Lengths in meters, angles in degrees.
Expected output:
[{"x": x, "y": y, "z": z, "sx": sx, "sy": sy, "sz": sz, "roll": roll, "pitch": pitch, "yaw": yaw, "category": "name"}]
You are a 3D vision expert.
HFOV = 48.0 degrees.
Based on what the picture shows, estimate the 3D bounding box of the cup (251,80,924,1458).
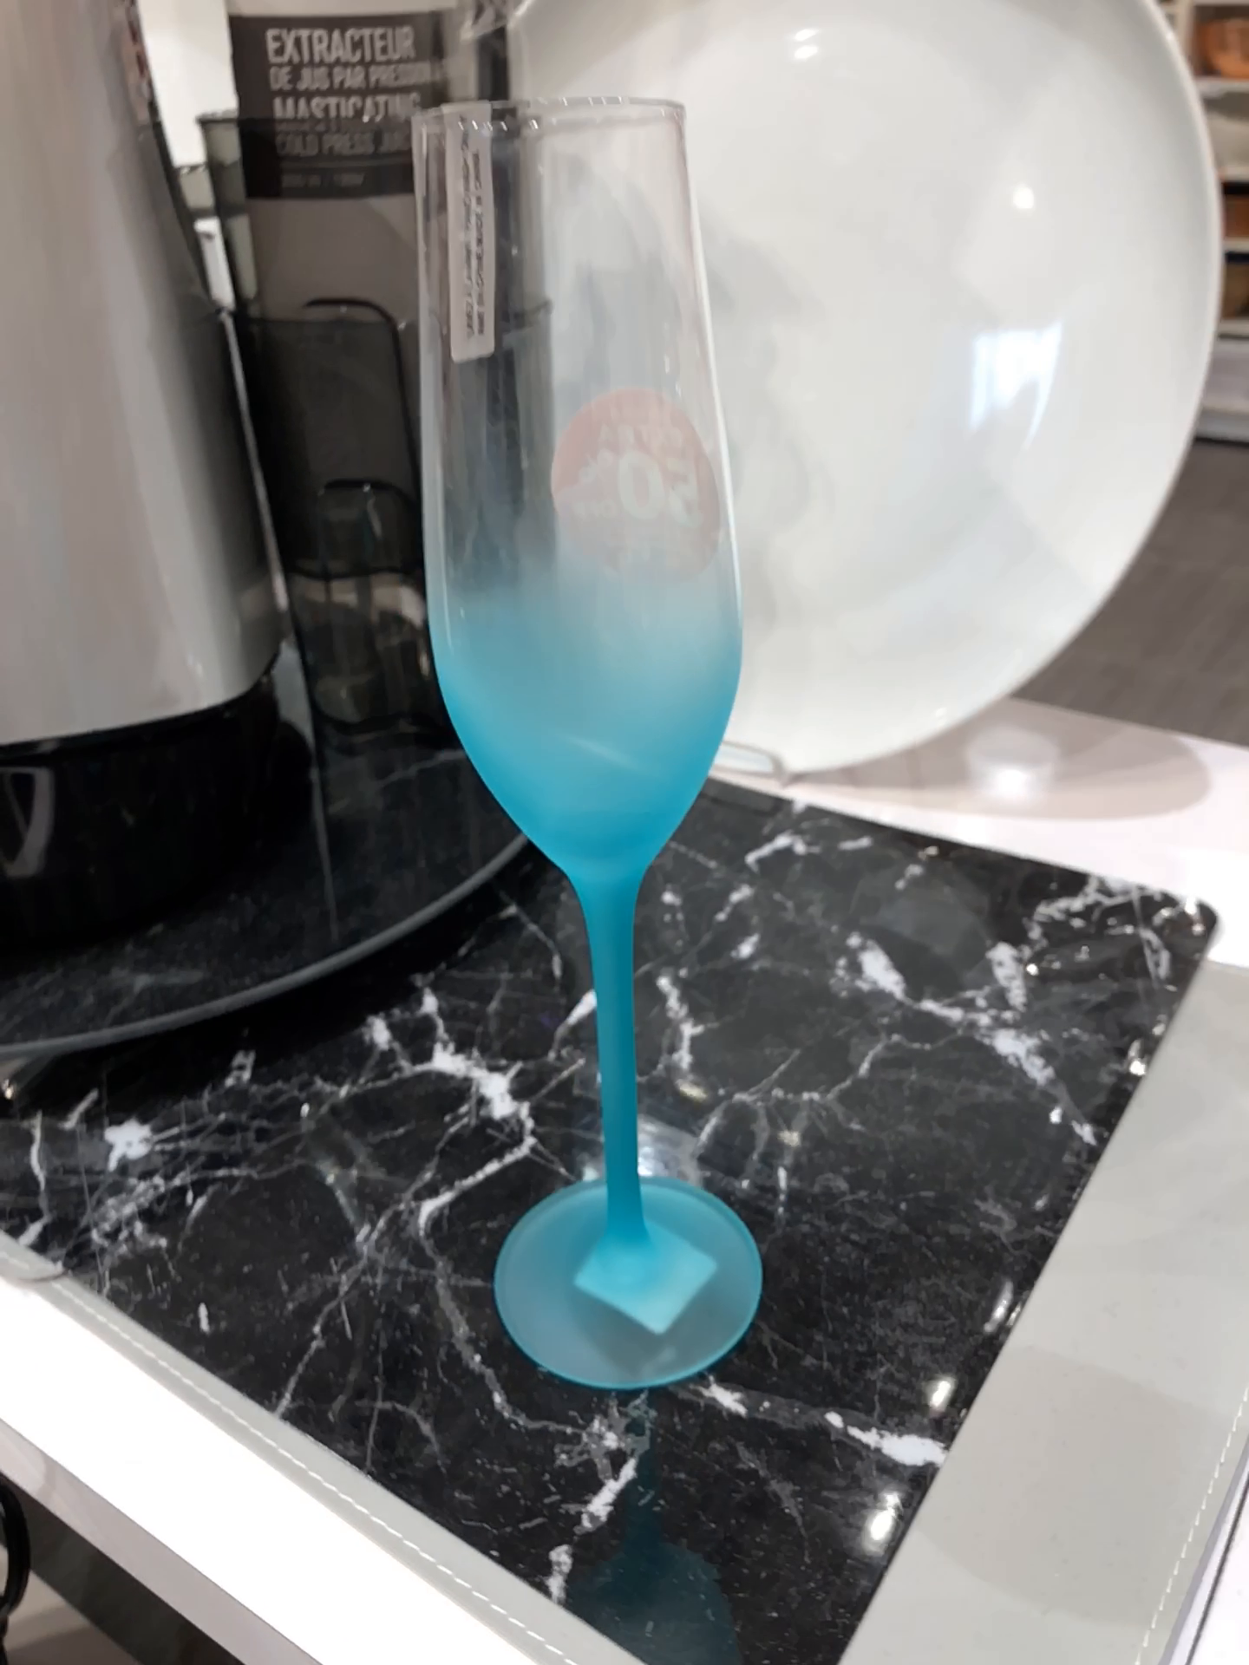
[{"x": -0.003, "y": -0.003, "z": 0.263, "sx": 0.070, "sy": 0.239, "sz": 0.070, "roll": -2, "pitch": 30, "yaw": 1, "category": "cup"}]
